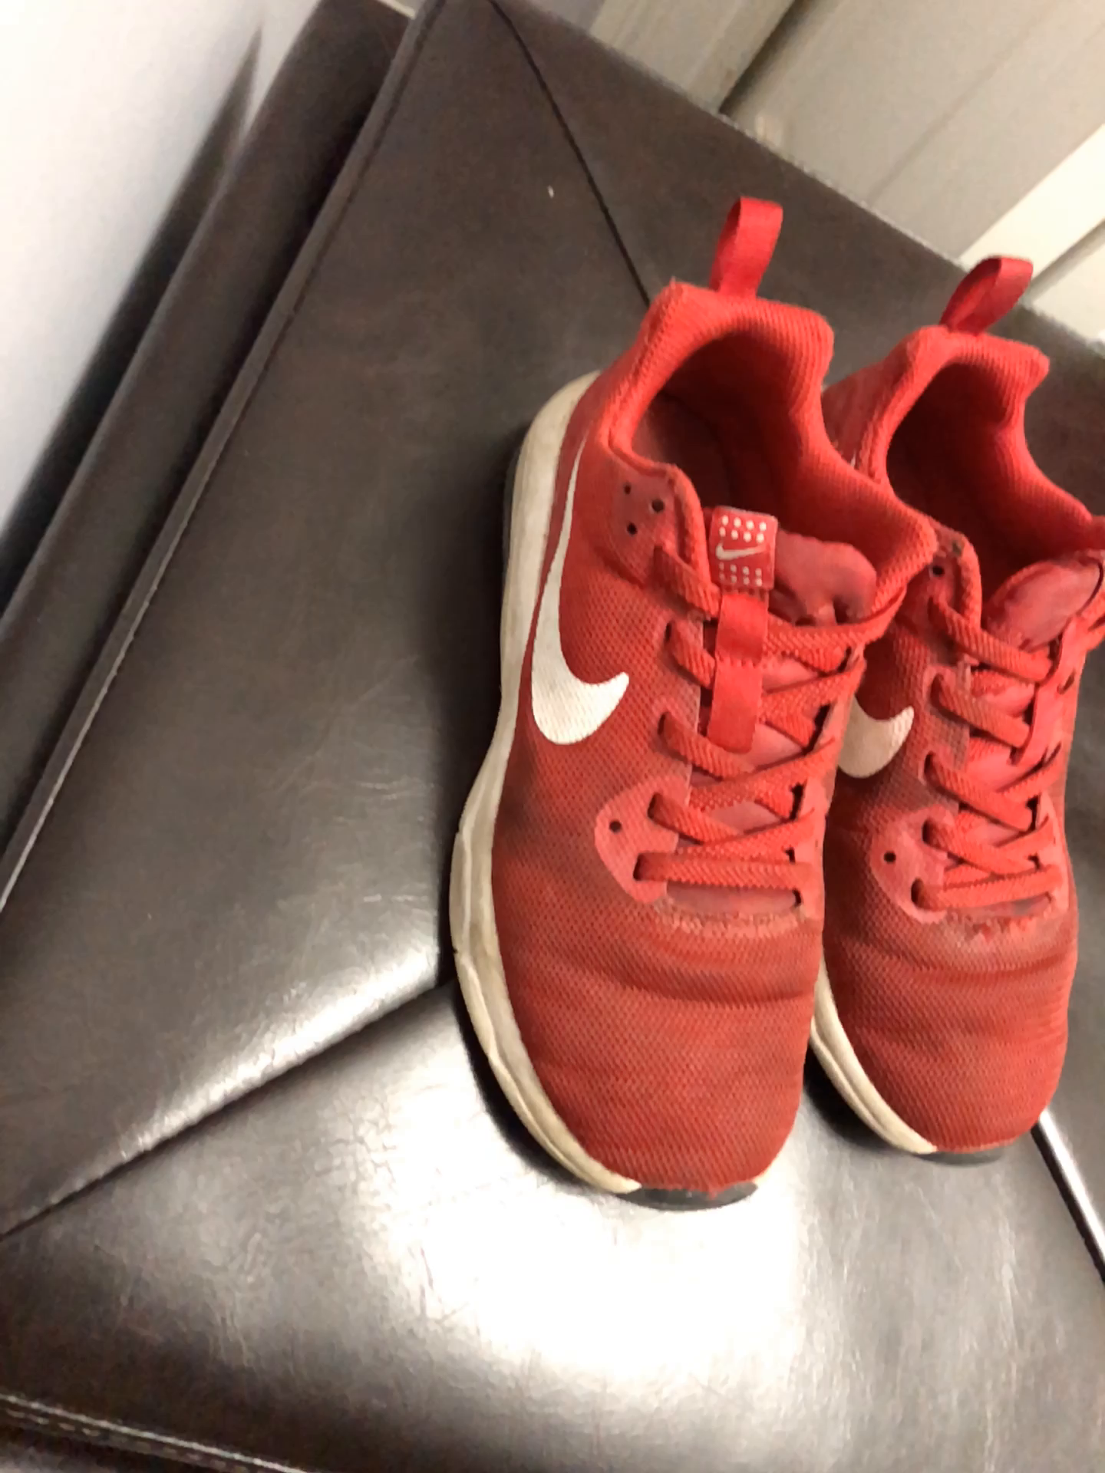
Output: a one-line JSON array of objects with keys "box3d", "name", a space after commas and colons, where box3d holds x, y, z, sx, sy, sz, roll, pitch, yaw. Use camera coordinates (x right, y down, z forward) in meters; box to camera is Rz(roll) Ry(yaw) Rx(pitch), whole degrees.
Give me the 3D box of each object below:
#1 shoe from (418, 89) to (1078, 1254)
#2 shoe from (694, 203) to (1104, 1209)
[{"box3d": [0.034, -0.008, 0.282, 0.095, 0.100, 0.220, 7, 73, -23], "name": "shoe"}, {"box3d": [0.119, -0.004, 0.323, 0.095, 0.100, 0.220, -1, 76, -25], "name": "shoe"}]
